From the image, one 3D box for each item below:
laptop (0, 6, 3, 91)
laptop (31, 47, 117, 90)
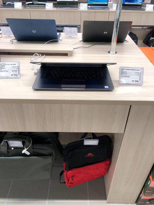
[{"bbox_3d":[-0.596,-0.263,0.760,0.348,0.230,0.379,1,37,-2],"label":"laptop"},{"bbox_3d":[-0.013,-0.168,0.793,0.344,0.099,0.222,1,38,-1],"label":"laptop"}]
